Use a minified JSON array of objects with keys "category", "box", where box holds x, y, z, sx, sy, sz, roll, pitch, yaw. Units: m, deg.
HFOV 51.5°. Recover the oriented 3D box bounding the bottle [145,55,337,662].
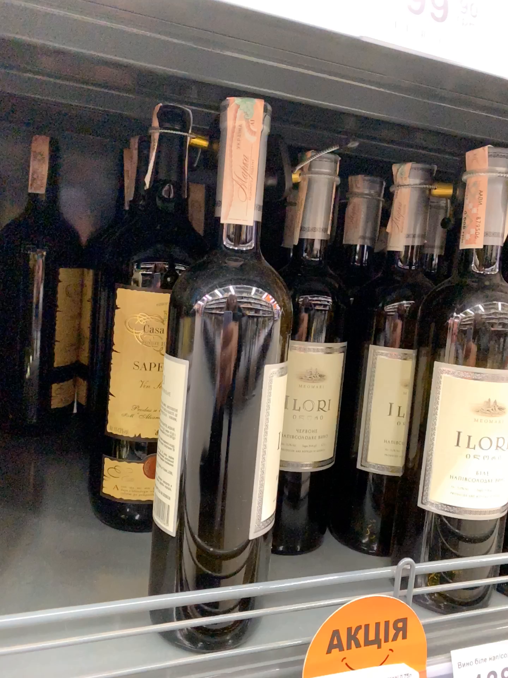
[{"category":"bottle","box":[-0.016,0.018,0.314,0.069,0.319,0.070,6,8,-1]}]
